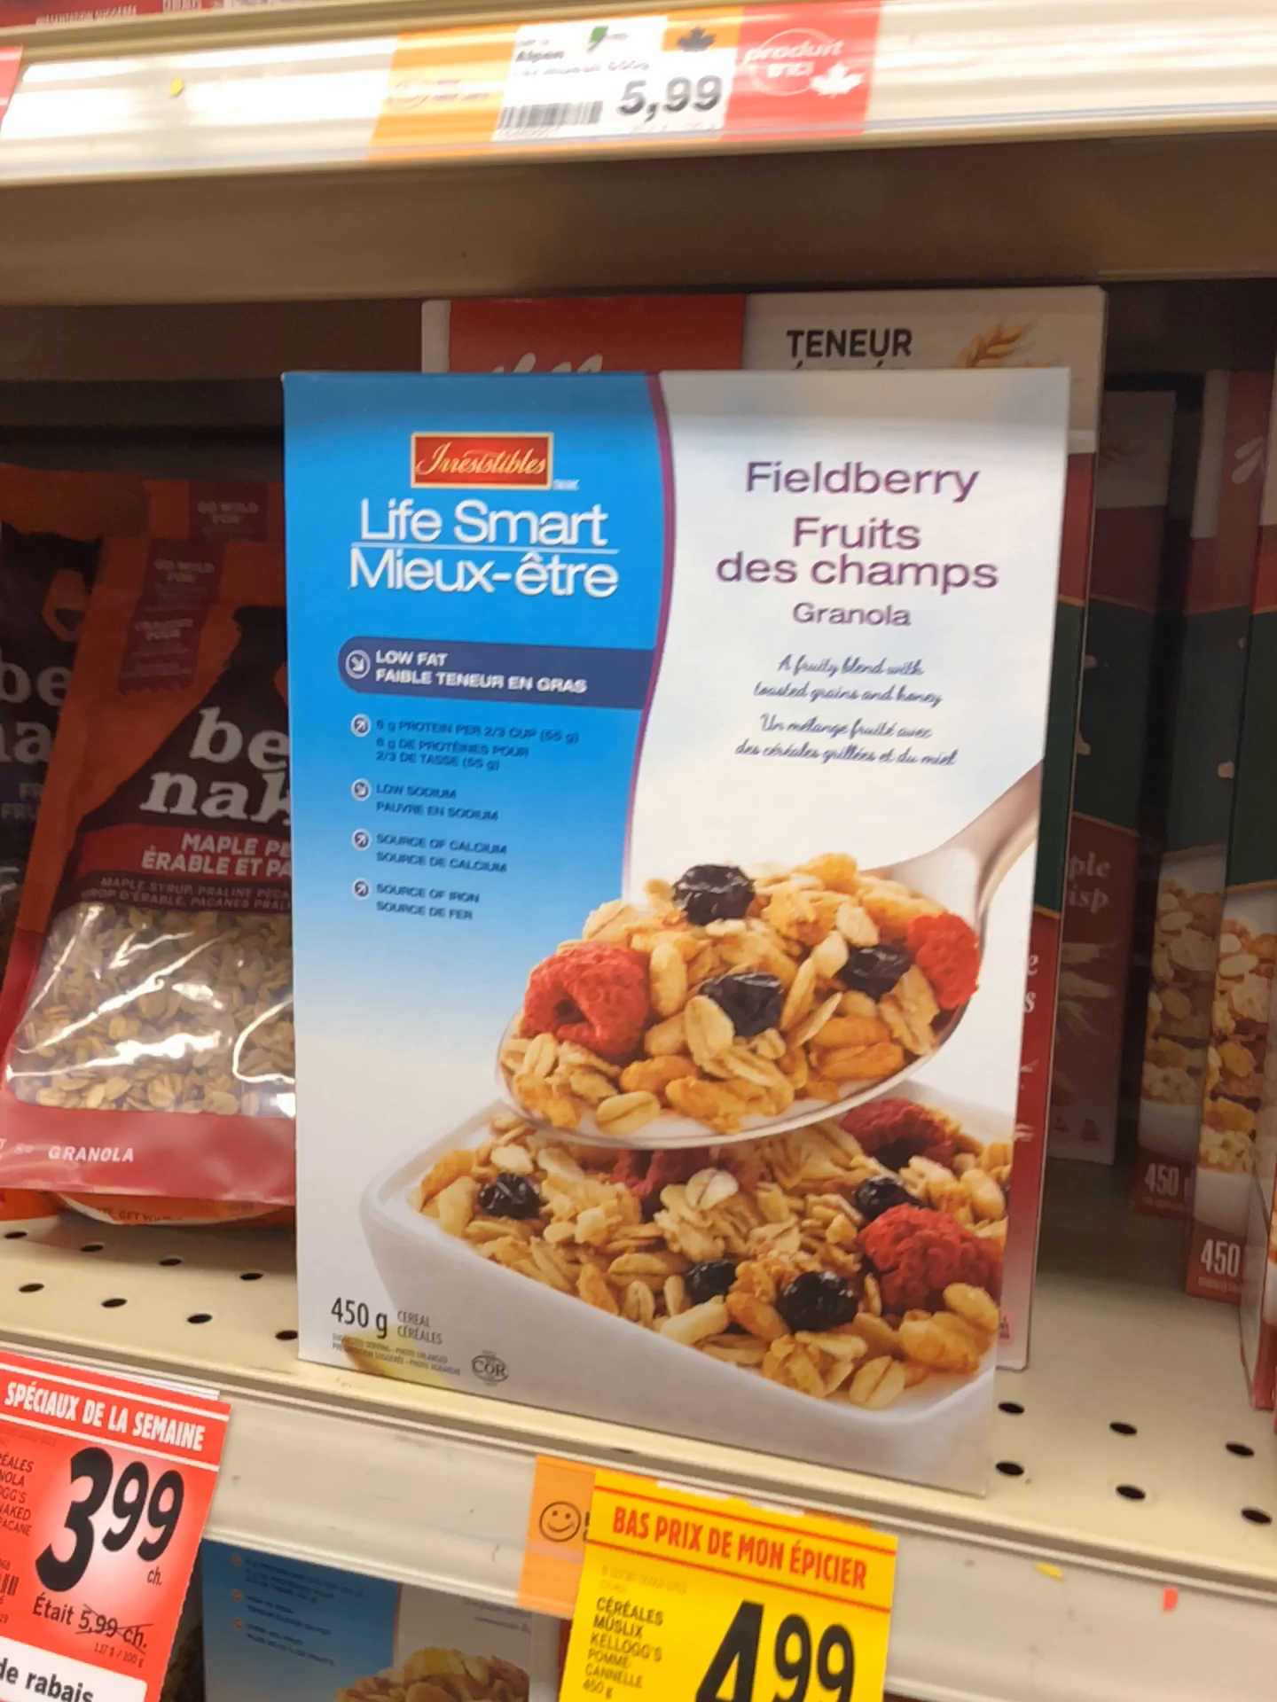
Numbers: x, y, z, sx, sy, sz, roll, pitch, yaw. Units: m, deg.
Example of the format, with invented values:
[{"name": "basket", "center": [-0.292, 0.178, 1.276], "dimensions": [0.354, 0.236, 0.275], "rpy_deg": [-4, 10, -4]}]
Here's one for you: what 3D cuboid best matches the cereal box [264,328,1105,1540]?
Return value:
[{"name": "cereal box", "center": [0.005, 0.013, 0.320], "dimensions": [0.170, 0.239, 0.050], "rpy_deg": [5, 10, 17]}]
